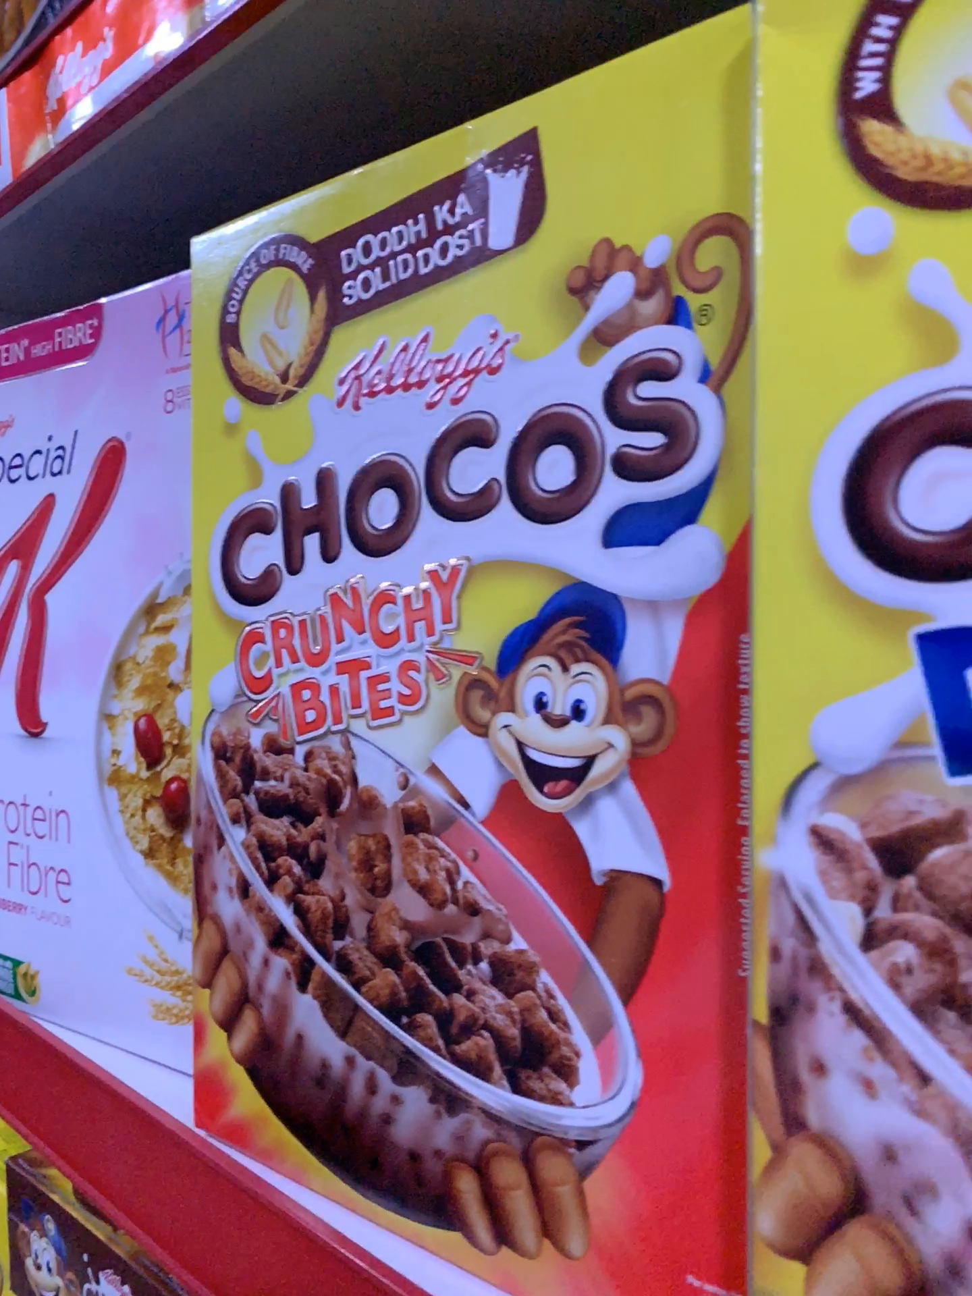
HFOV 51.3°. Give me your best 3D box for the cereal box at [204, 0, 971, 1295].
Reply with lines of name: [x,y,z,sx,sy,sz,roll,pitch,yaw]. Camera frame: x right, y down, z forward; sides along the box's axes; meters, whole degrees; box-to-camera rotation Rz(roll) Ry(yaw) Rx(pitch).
cereal box: [0.023,0.007,0.256,0.190,0.260,0.080,0,-1,37]
